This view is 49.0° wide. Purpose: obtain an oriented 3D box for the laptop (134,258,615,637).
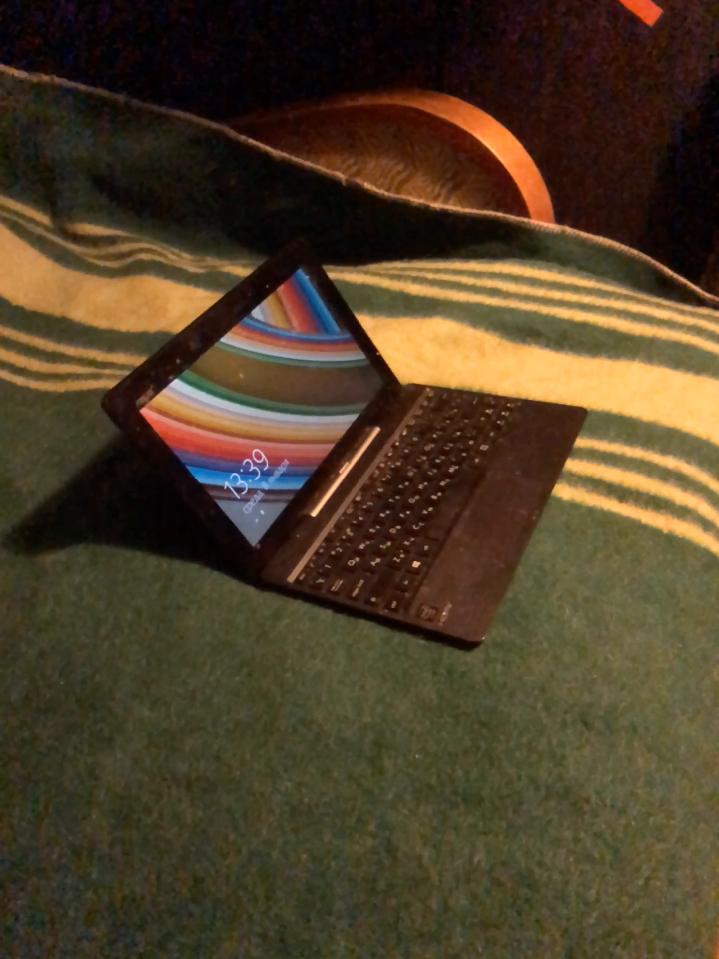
[{"bbox_3d":[0.019,-0.048,0.597,0.257,0.116,0.258,14,44,23],"label":"laptop"}]
